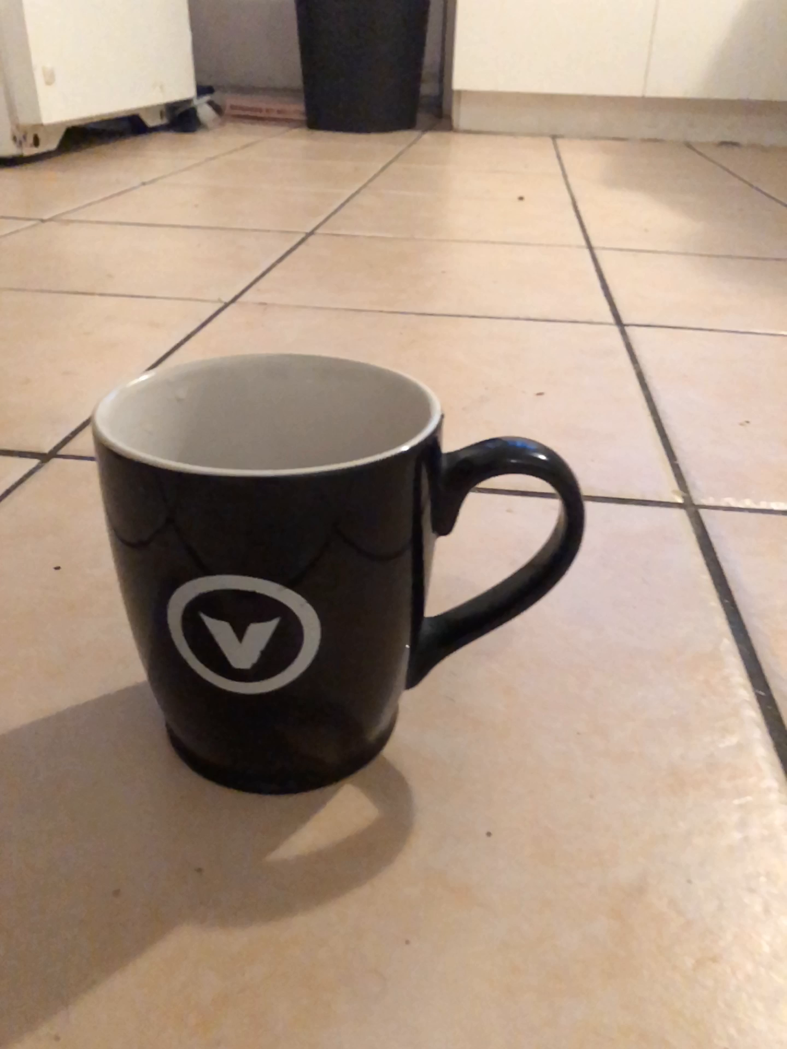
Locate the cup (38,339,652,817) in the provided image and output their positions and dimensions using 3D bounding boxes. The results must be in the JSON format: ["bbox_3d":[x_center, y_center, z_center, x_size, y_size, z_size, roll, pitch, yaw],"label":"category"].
[{"bbox_3d":[-0.011,0.010,0.265,0.140,0.100,0.101,3,28,1],"label":"cup"}]
